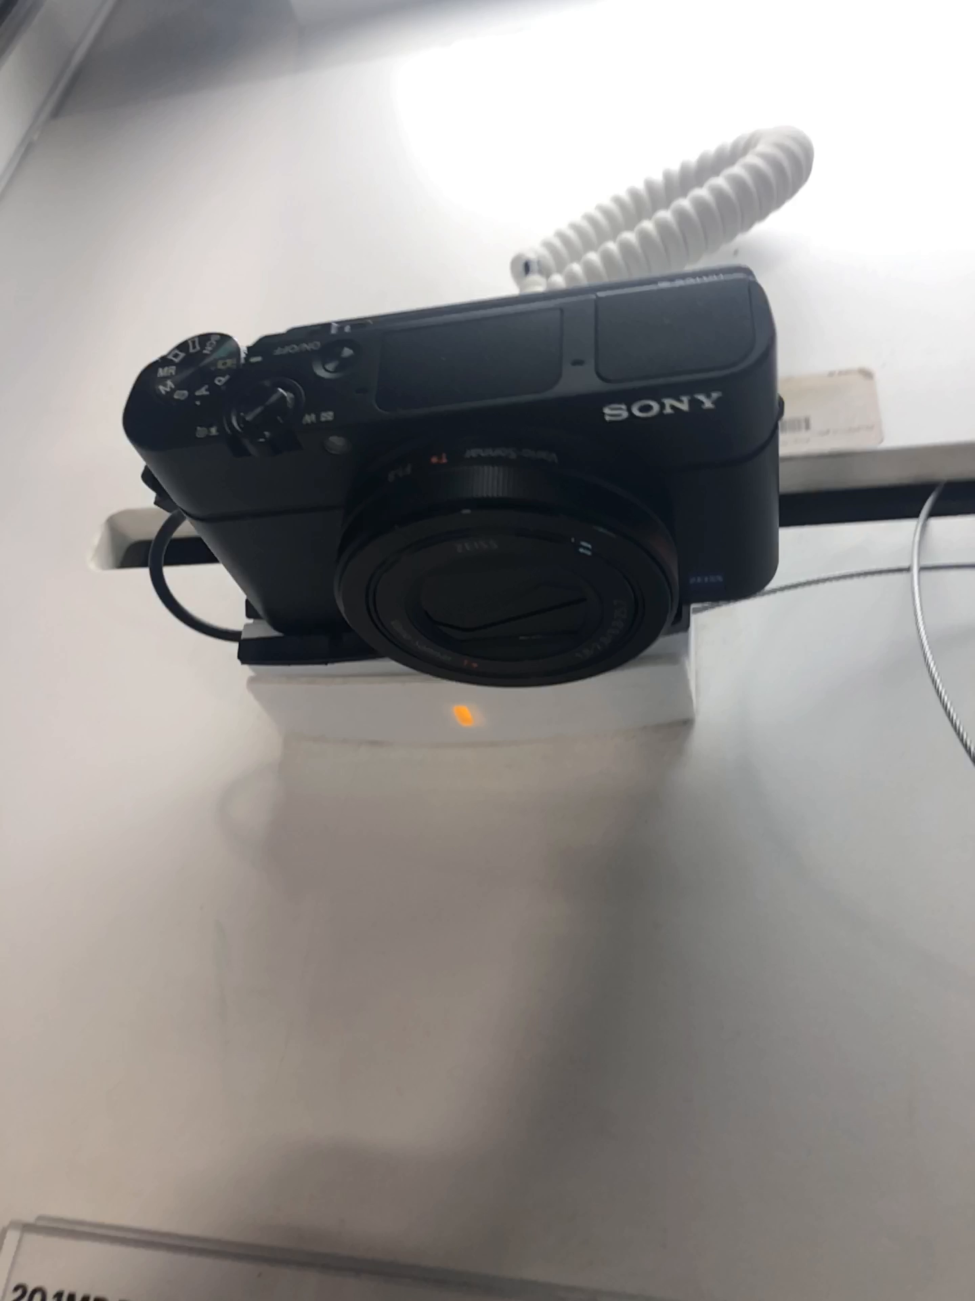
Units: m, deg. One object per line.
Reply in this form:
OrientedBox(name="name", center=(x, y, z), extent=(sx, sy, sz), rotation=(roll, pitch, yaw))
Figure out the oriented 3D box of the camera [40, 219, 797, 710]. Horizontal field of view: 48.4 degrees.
OrientedBox(name="camera", center=(-0.006, -0.024, 0.172), extent=(0.102, 0.051, 0.041), rotation=(-5, 56, 14))
